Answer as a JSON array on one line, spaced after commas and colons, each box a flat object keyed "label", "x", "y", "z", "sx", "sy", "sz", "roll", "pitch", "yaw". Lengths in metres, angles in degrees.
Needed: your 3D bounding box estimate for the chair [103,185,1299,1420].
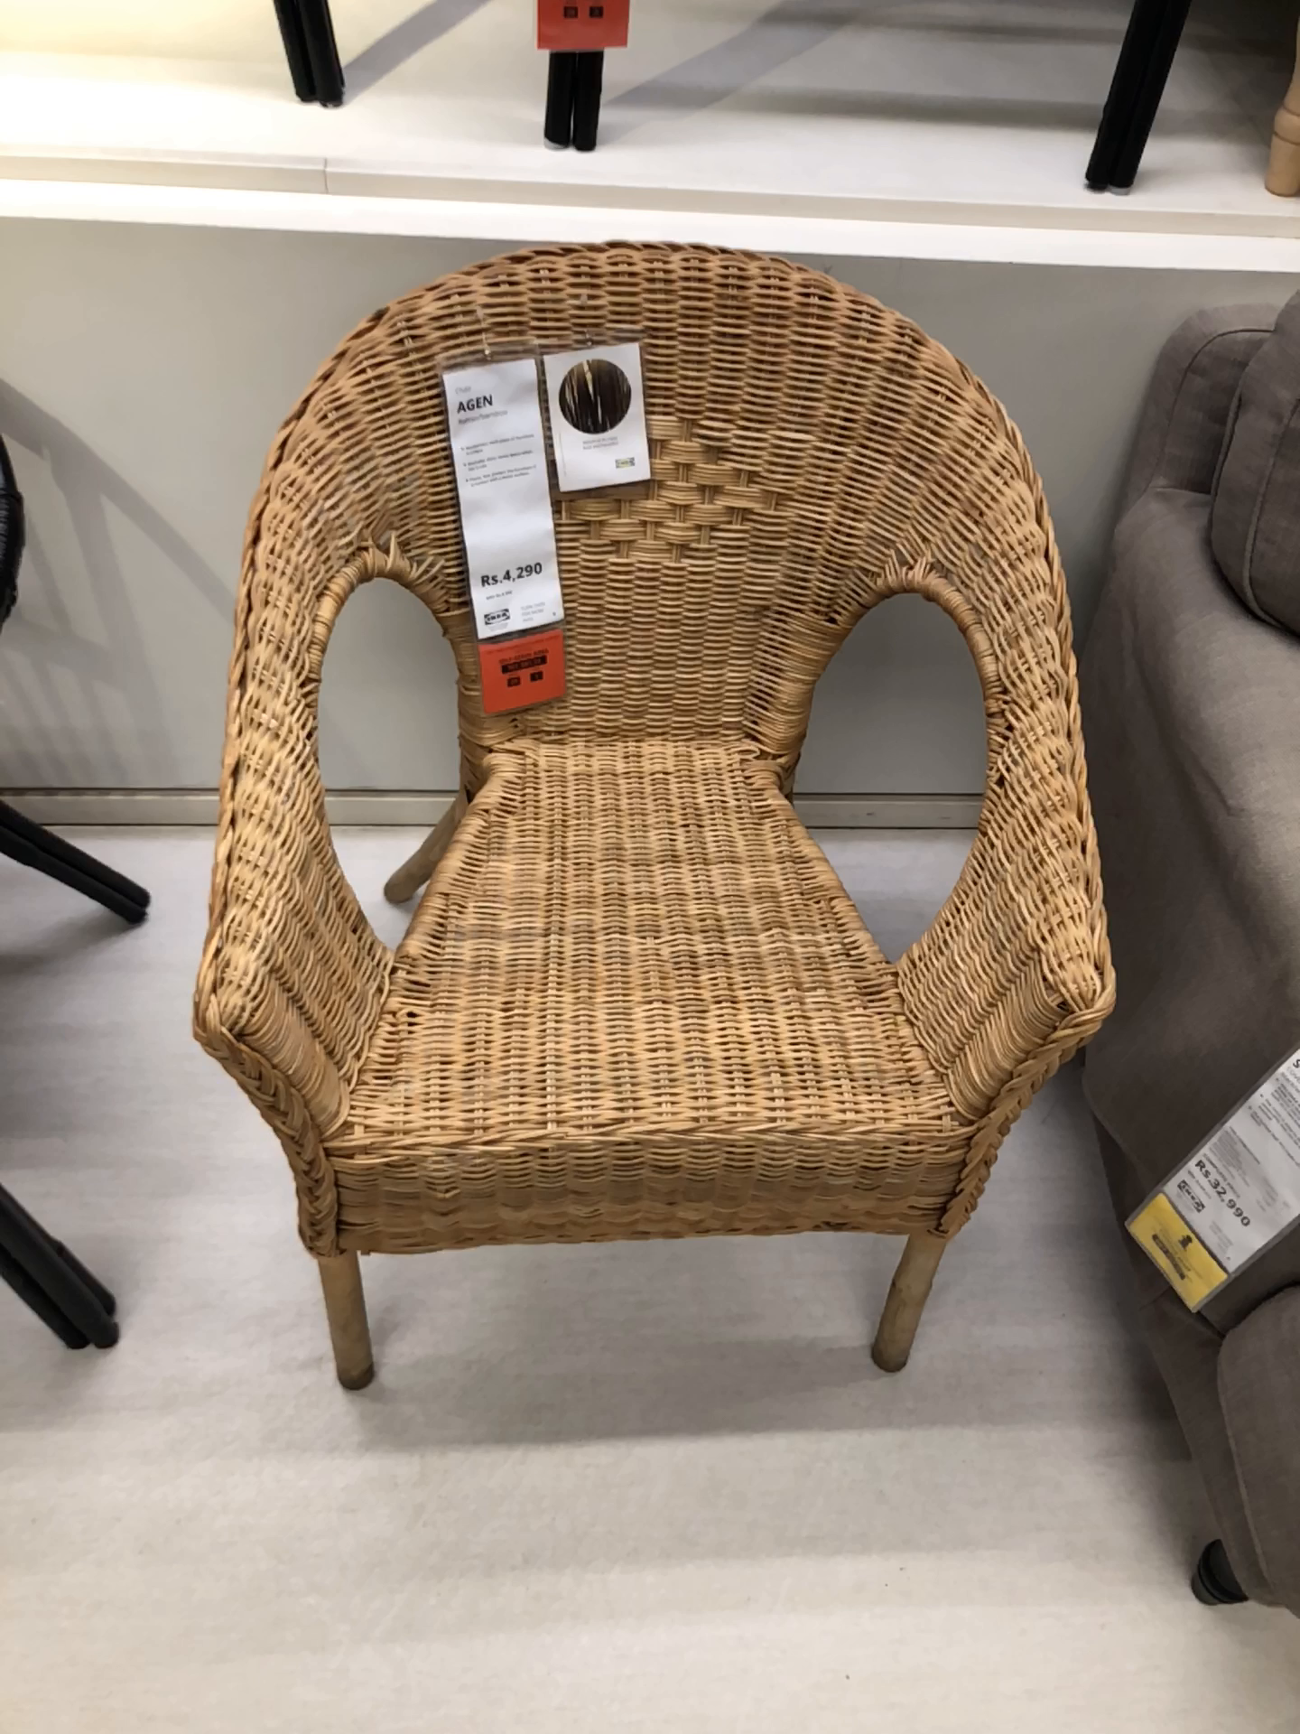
[{"label": "chair", "x": 0.006, "y": -0.008, "z": 1.080, "sx": 0.550, "sy": 0.696, "sz": 0.603, "roll": 0, "pitch": 52, "yaw": -5}]
